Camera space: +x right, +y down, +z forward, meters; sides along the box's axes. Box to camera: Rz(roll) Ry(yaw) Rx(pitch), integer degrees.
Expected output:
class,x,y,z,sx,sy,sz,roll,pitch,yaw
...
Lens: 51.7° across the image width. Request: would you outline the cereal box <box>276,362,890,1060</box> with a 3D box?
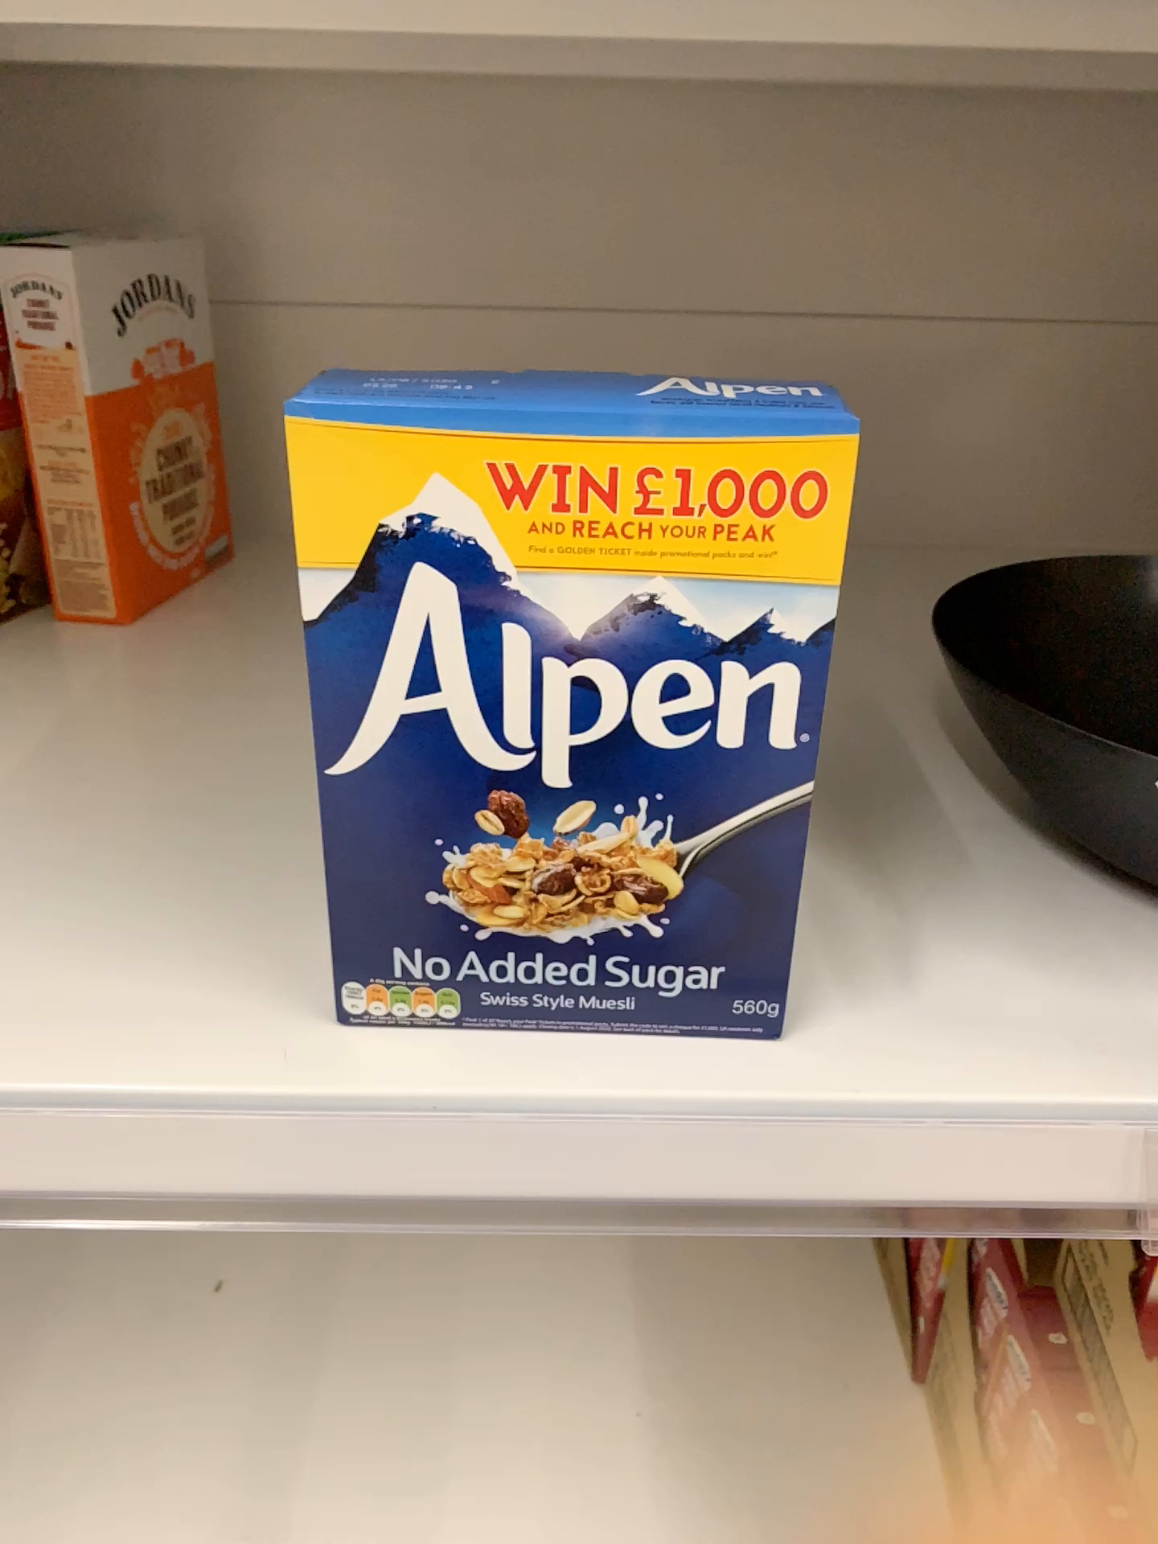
class,x,y,z,sx,sy,sz,roll,pitch,yaw
cereal box,-0.001,-0.015,0.428,0.180,0.238,0.061,2,26,1
